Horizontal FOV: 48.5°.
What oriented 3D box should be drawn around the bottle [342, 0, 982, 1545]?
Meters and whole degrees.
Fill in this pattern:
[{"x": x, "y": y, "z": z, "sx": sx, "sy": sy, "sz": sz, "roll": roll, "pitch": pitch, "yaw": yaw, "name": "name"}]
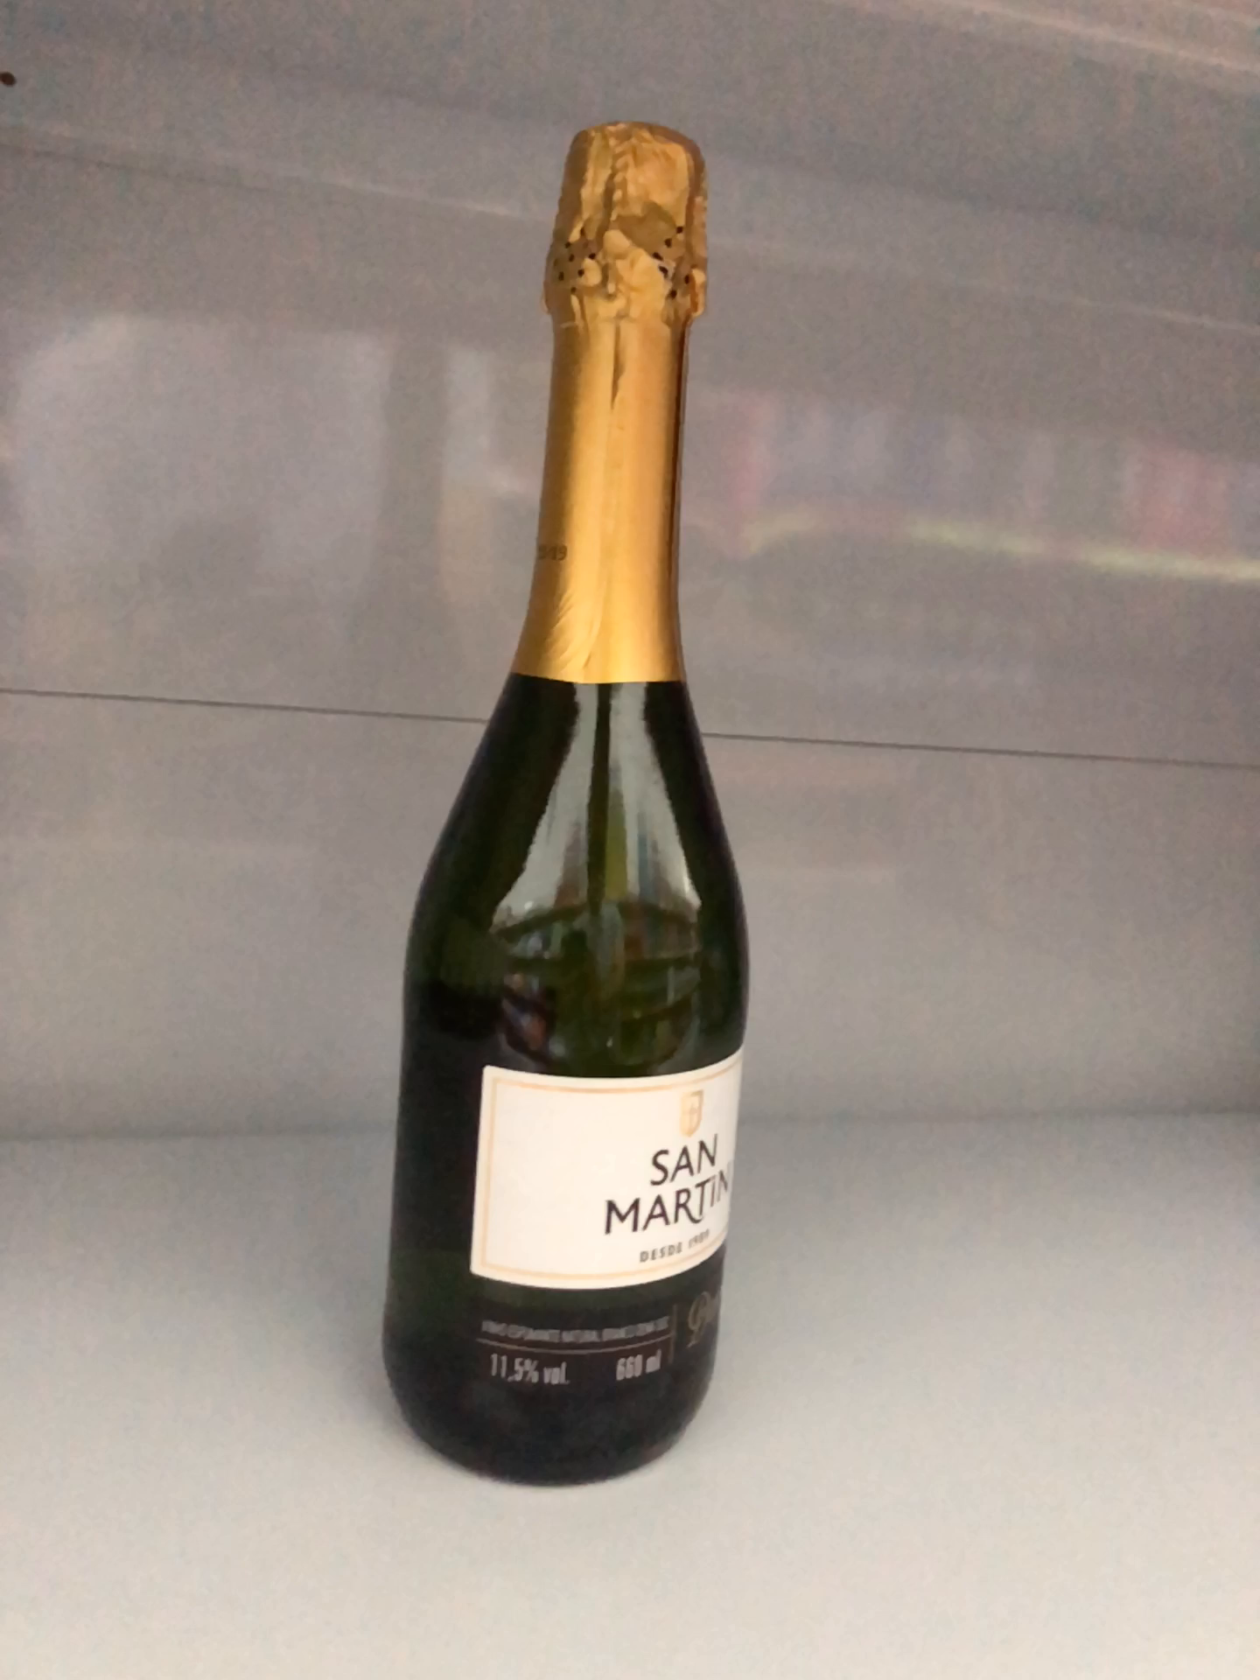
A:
[{"x": 0.001, "y": -0.017, "z": 0.321, "sx": 0.090, "sy": 0.309, "sz": 0.080, "roll": -3, "pitch": 12, "yaw": -40, "name": "bottle"}]
